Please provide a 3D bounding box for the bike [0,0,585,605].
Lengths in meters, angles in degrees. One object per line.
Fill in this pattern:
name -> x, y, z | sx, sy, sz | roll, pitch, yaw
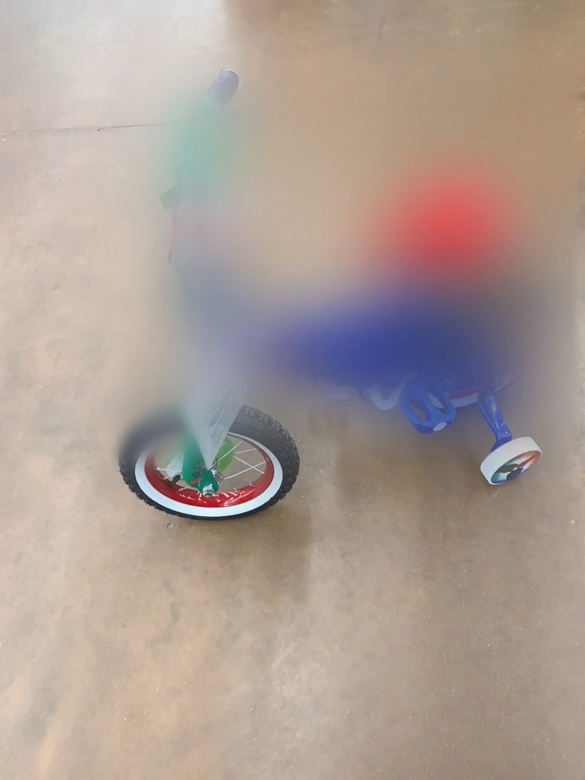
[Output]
bike -> 0.059, -0.123, 0.897 | 0.775, 0.670, 0.461 | -19, 55, -7
